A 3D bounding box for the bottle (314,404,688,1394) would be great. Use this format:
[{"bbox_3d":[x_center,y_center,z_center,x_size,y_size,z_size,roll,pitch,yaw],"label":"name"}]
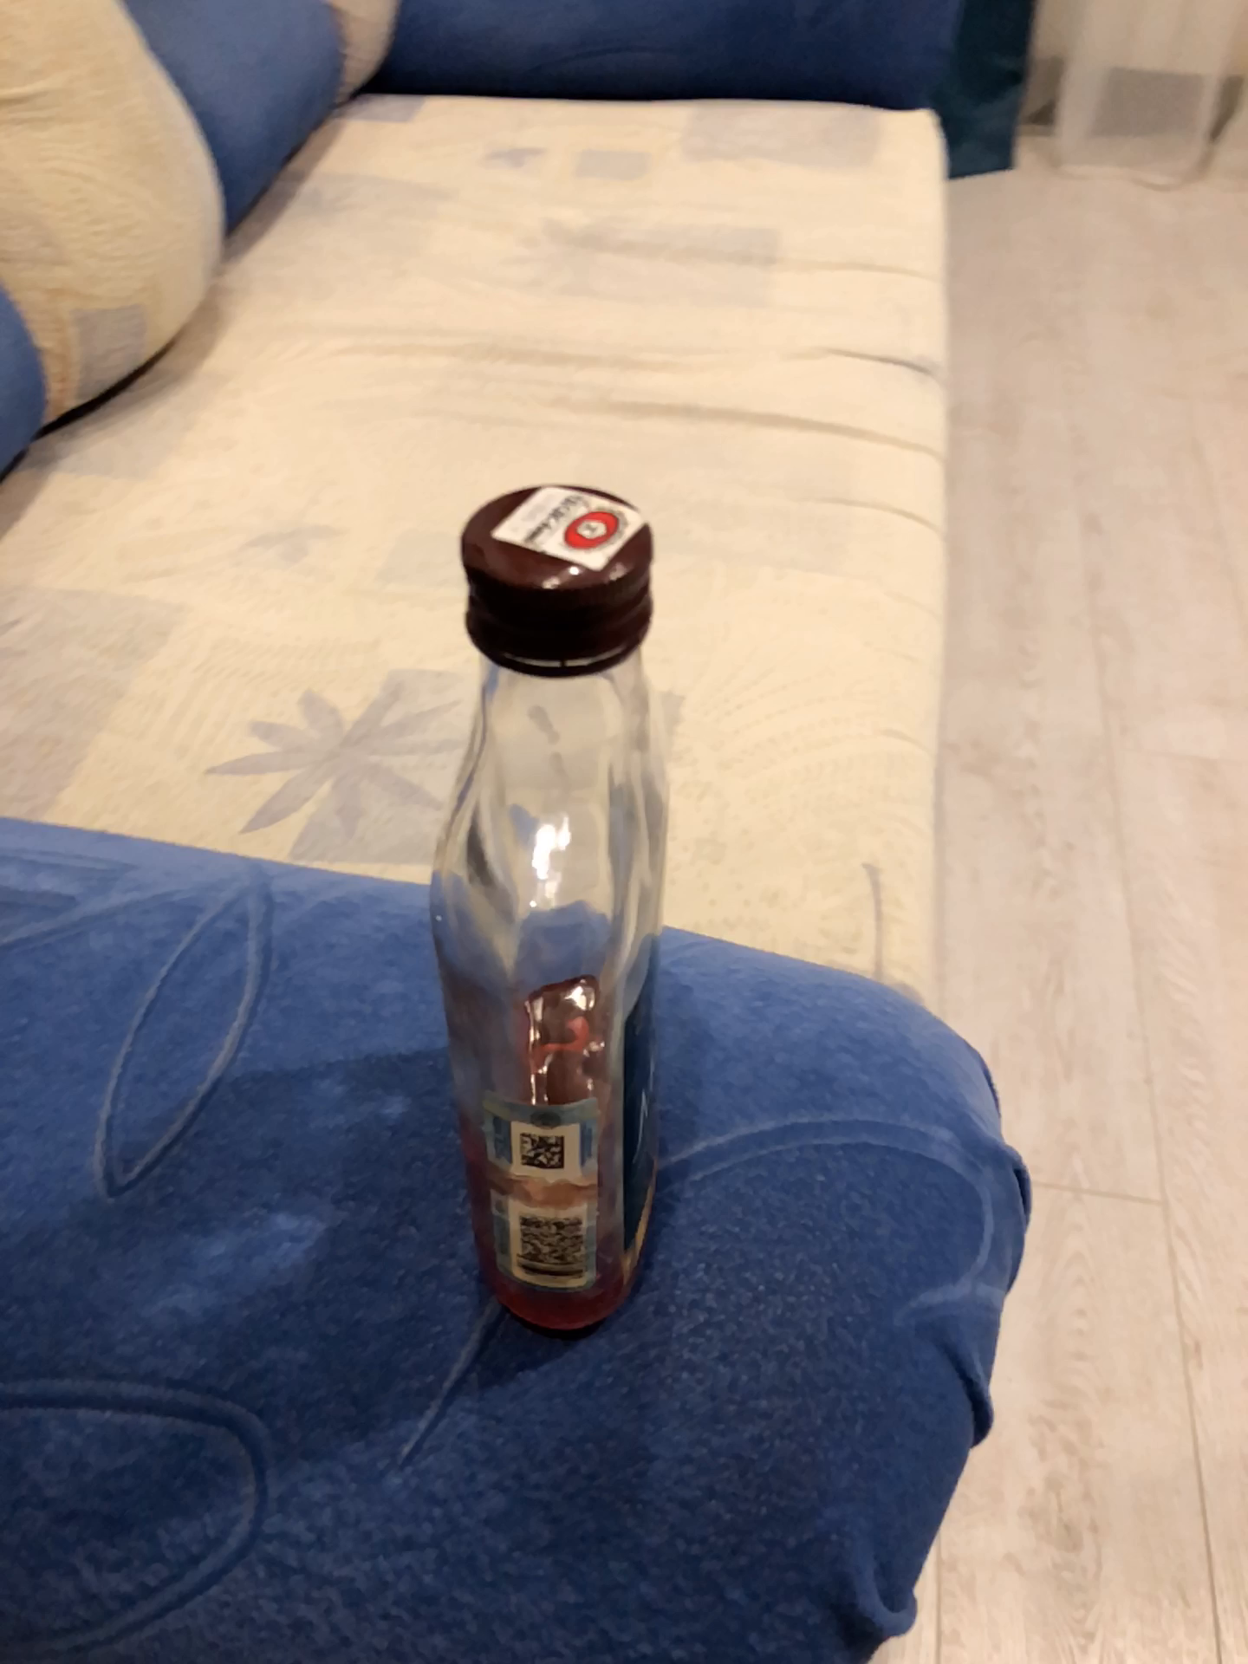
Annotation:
[{"bbox_3d":[-0.016,0.024,0.263,0.040,0.179,0.091,5,46,3],"label":"bottle"}]
